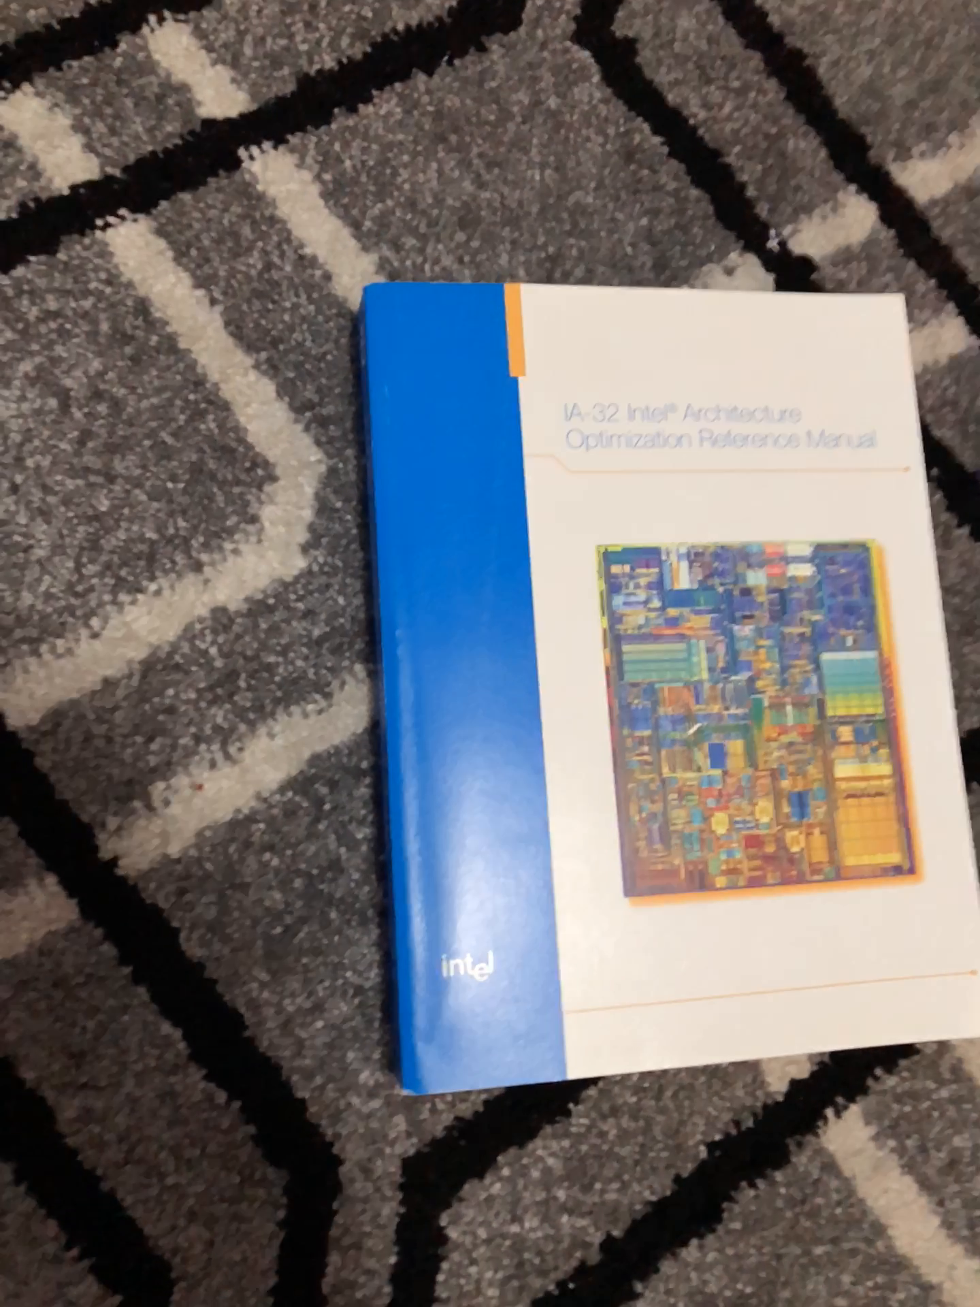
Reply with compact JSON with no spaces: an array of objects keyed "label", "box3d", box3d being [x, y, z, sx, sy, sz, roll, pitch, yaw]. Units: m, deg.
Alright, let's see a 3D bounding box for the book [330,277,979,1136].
[{"label":"book","box3d":[0.047,0.006,0.297,0.170,0.040,0.210,-2,81,-10]}]
